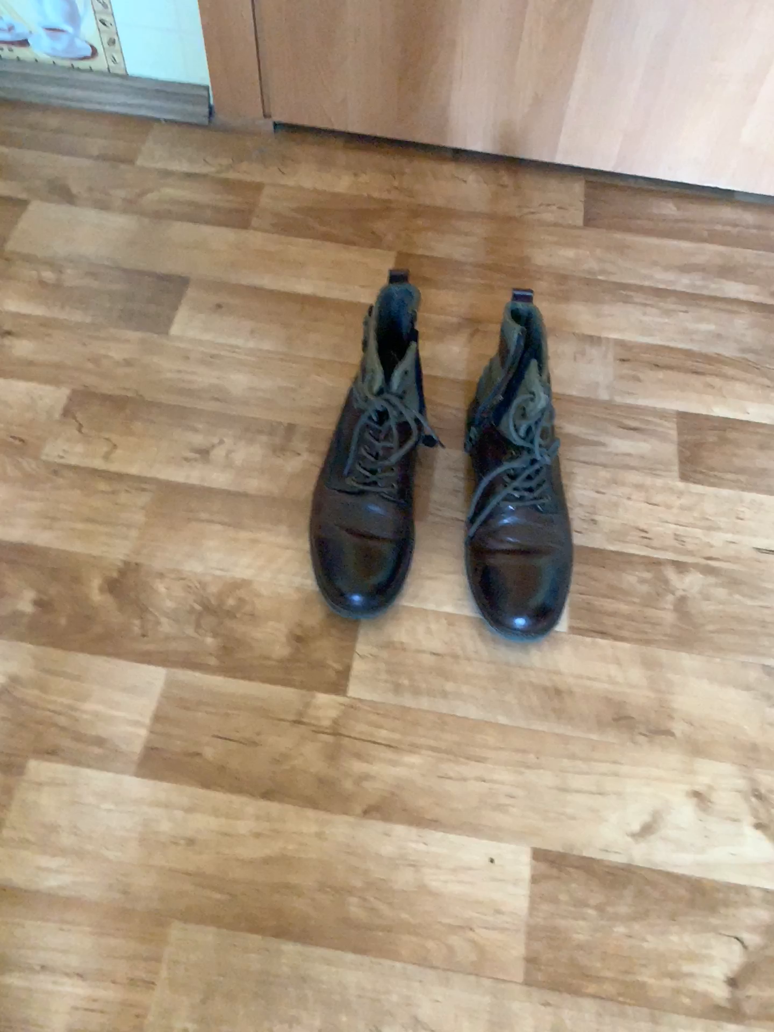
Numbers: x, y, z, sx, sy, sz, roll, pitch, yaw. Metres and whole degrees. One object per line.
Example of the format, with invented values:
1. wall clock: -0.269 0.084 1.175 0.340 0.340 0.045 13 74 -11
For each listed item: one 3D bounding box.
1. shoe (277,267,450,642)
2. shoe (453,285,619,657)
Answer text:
1. shoe: -0.014 -0.062 0.741 0.110 0.150 0.311 7 59 1
2. shoe: 0.131 -0.046 0.744 0.110 0.150 0.311 5 59 1
